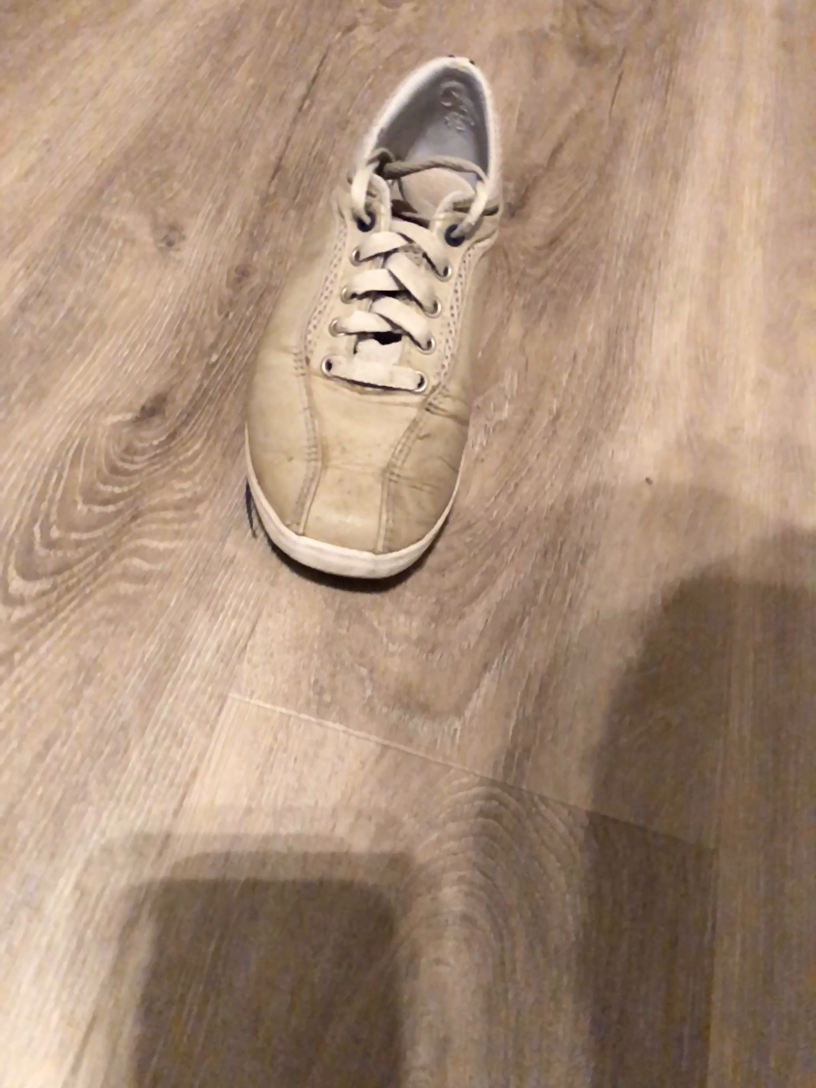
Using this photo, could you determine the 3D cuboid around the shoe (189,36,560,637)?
[{"bbox_3d":[-0.004,-0.097,0.370,0.090,0.070,0.251,15,56,-3],"label":"shoe"}]
